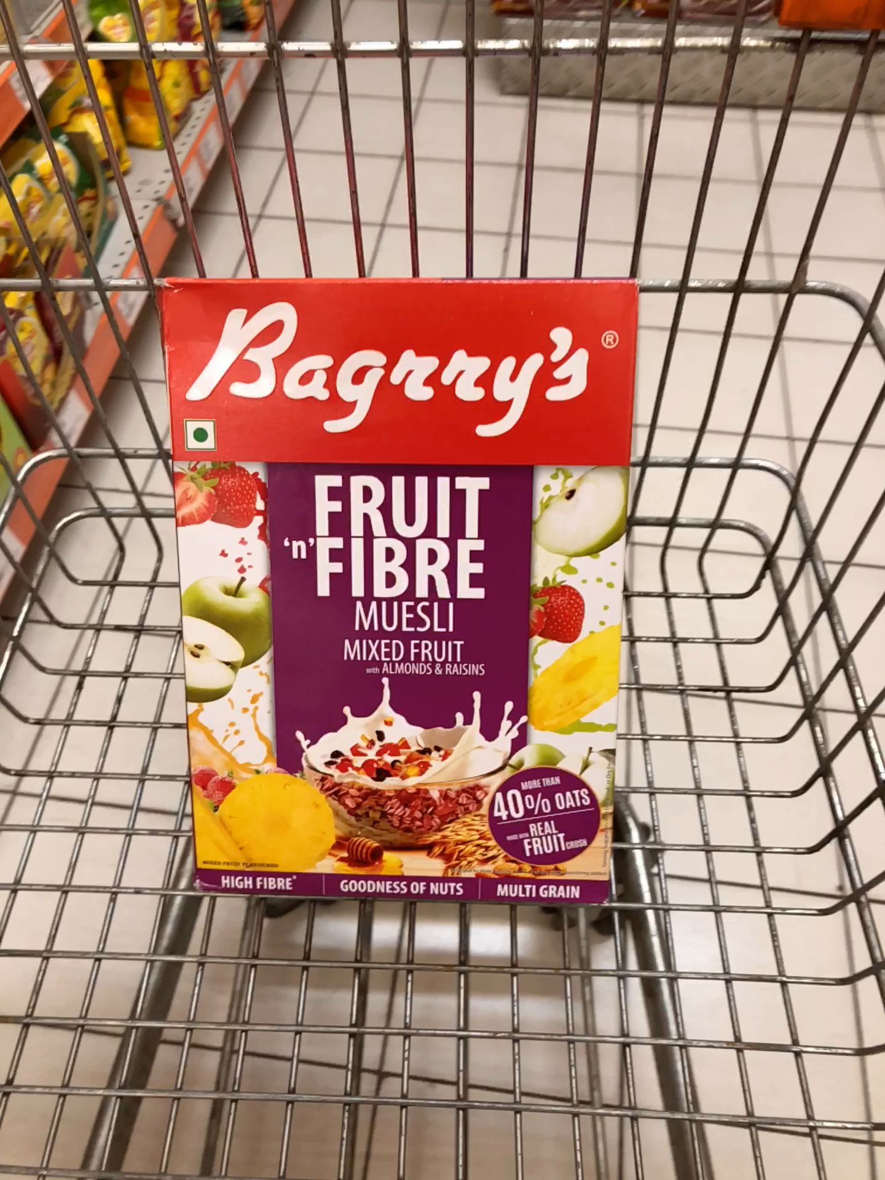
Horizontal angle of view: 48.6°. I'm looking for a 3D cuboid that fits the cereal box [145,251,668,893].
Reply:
[{"bbox_3d":[-0.014,-0.007,0.415,0.190,0.249,0.070,1,12,2],"label":"cereal box"}]
